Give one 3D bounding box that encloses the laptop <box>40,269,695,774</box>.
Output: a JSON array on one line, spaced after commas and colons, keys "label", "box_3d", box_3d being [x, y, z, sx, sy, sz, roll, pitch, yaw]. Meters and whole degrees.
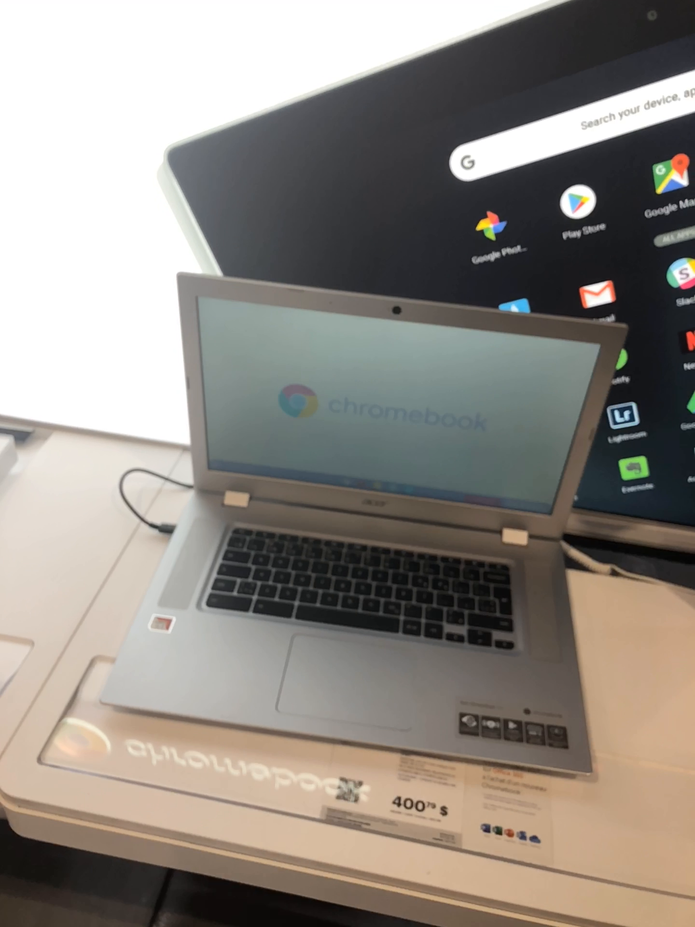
[{"label": "laptop", "box_3d": [0.017, 0.033, 0.619, 0.377, 0.249, 0.265, 7, 37, 4]}]
